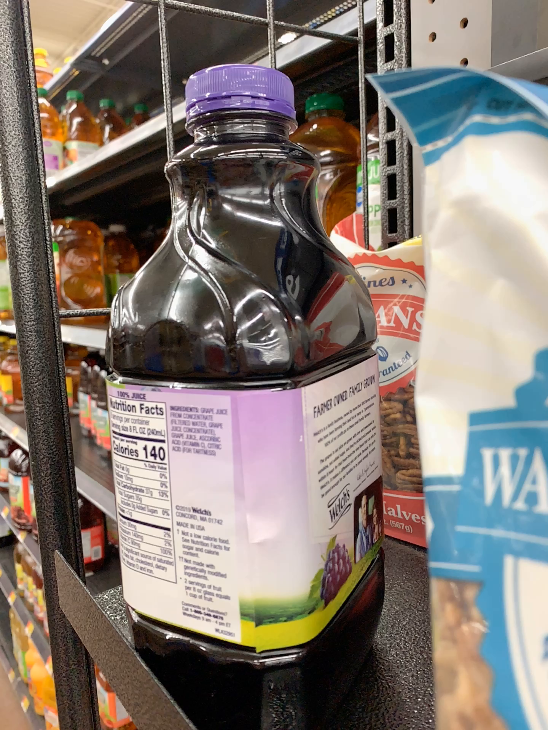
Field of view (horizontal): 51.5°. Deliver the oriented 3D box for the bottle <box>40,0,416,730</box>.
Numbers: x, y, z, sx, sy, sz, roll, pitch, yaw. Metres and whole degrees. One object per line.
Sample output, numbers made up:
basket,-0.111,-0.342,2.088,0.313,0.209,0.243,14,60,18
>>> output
bottle,-0.006,0.011,0.245,0.100,0.260,0.120,3,9,30
